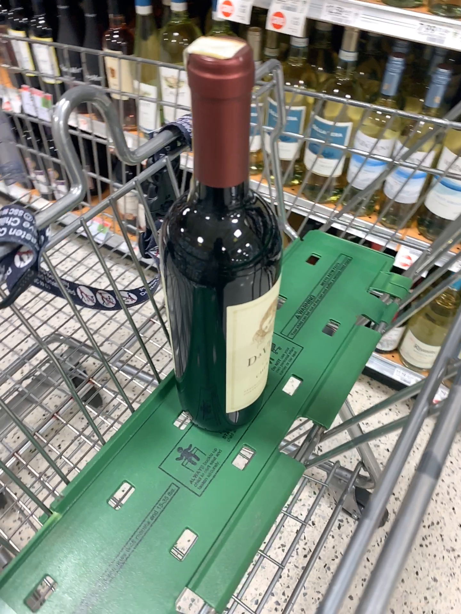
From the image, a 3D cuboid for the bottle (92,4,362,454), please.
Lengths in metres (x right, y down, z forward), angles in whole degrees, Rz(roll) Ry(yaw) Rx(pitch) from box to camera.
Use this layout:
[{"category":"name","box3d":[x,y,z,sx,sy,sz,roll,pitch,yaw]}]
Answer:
[{"category":"bottle","box3d":[0.001,-0.018,0.294,0.080,0.267,0.081,0,49,0]}]
